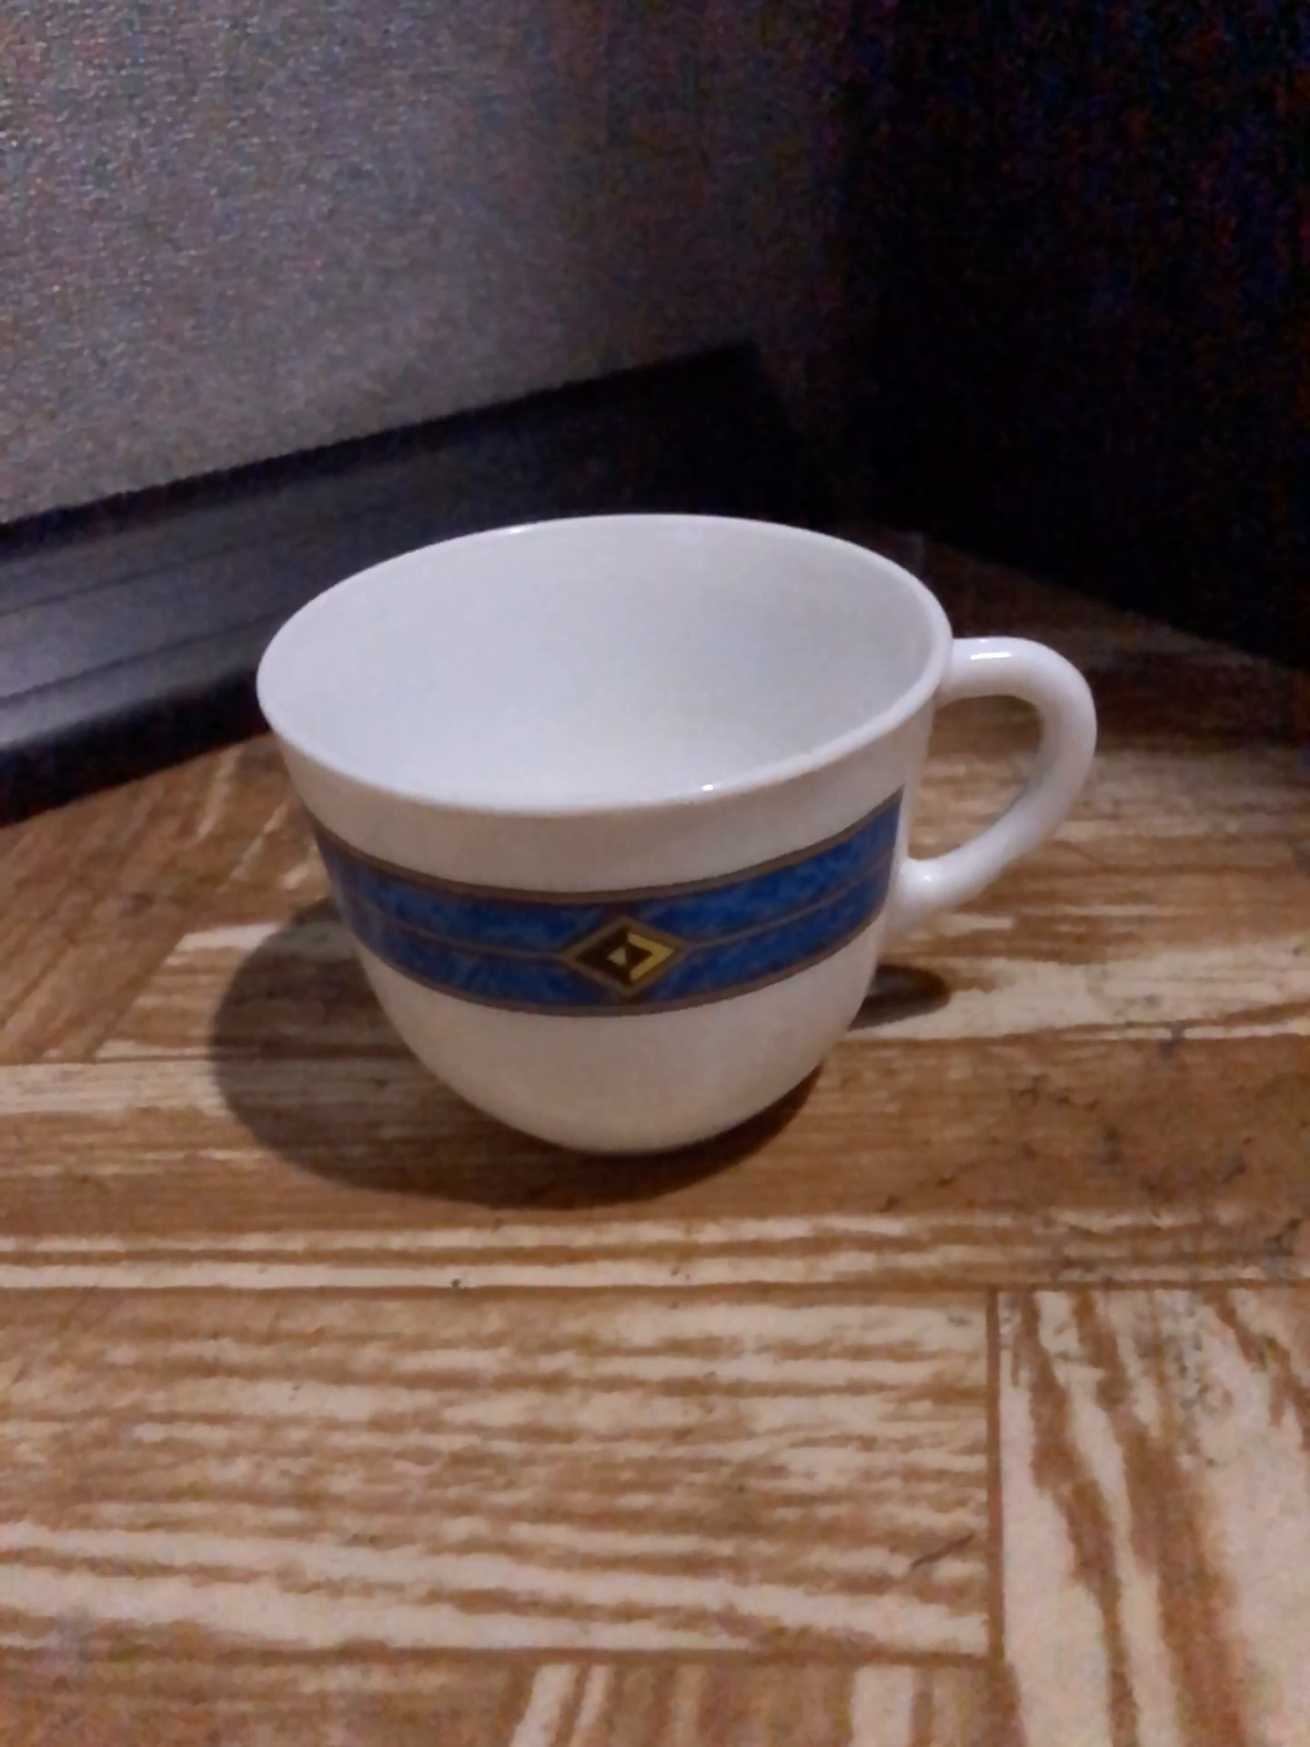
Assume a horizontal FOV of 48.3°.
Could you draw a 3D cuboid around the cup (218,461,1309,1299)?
[{"bbox_3d":[0.009,-0.007,0.194,0.110,0.062,0.088,-6,33,-6],"label":"cup"}]
